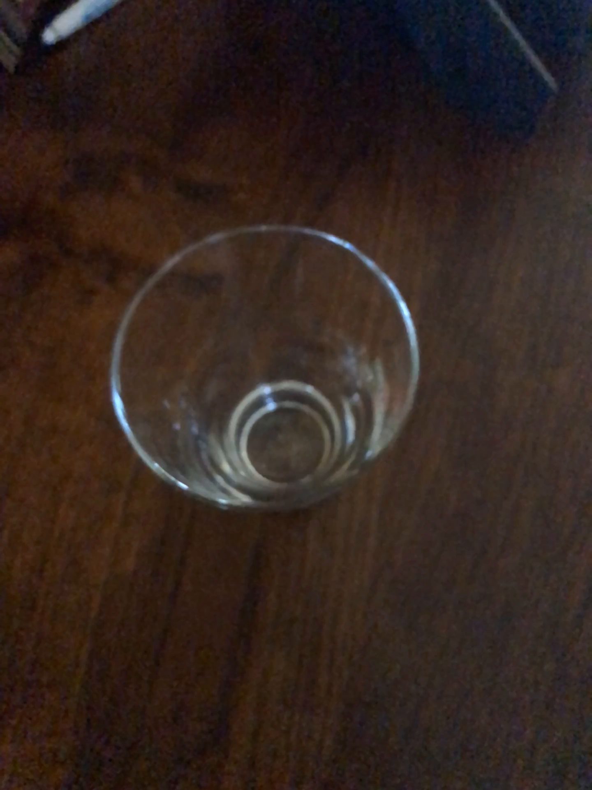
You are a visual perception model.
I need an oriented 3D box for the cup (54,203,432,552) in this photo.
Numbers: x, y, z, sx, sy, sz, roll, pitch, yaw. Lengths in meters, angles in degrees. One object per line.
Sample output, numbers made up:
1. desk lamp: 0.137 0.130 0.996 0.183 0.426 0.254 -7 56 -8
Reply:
1. cup: -0.010 0.001 0.239 0.100 0.100 0.090 2 71 3
